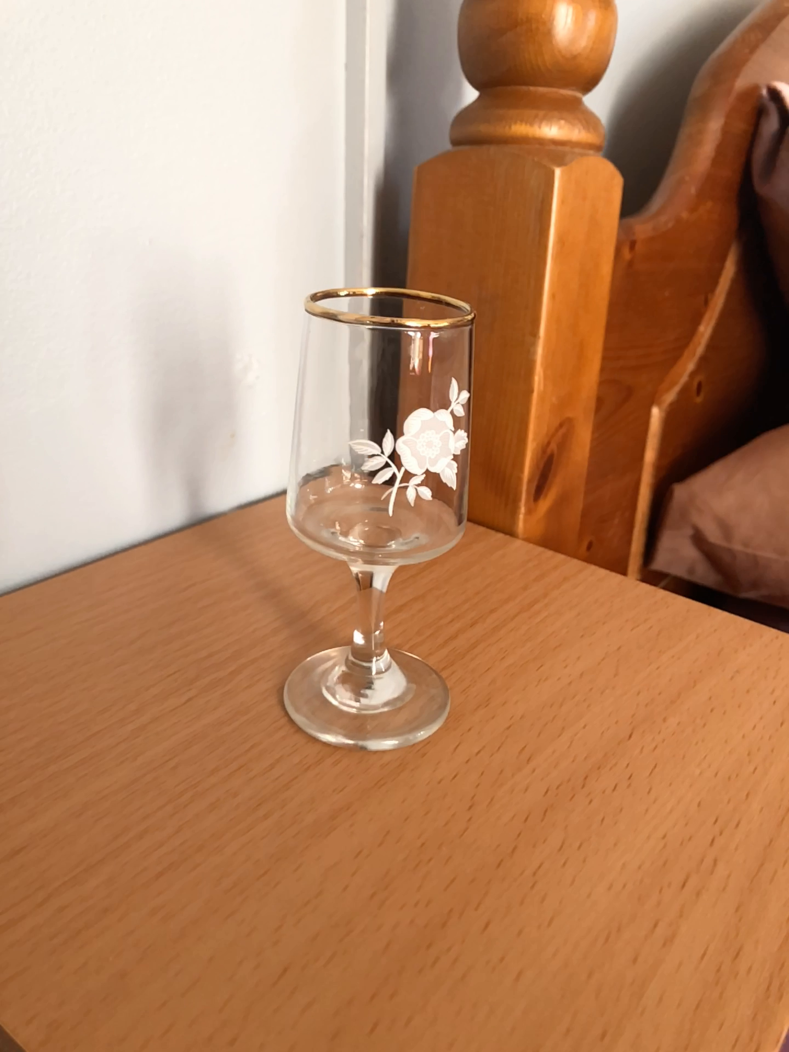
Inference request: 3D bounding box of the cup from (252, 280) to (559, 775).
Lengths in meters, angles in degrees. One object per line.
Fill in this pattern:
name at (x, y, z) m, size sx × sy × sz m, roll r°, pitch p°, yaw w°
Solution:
cup at (-0.003, -0.003, 0.225) m, size 0.052 × 0.108 × 0.056 m, roll 3°, pitch 23°, yaw -1°
